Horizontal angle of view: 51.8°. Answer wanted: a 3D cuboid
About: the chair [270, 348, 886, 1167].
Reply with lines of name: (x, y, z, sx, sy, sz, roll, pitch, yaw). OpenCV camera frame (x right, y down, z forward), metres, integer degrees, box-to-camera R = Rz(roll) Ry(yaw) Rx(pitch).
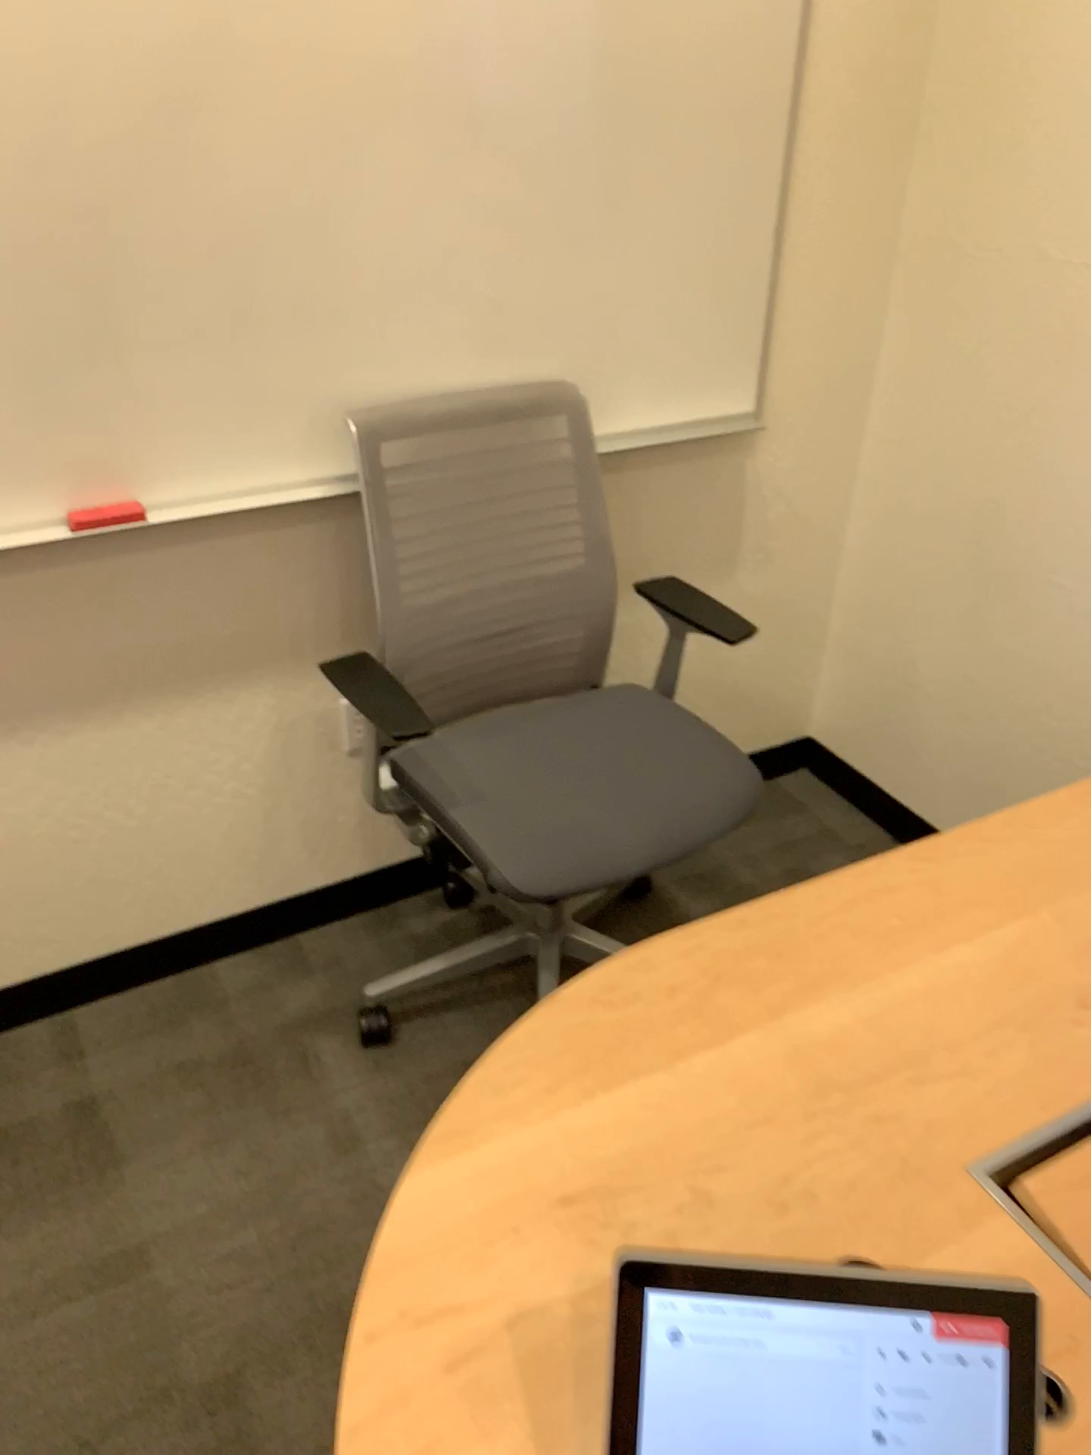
chair: (0.009, 0.005, 2.221, 0.760, 1.263, 0.754, -16, 34, -29)
